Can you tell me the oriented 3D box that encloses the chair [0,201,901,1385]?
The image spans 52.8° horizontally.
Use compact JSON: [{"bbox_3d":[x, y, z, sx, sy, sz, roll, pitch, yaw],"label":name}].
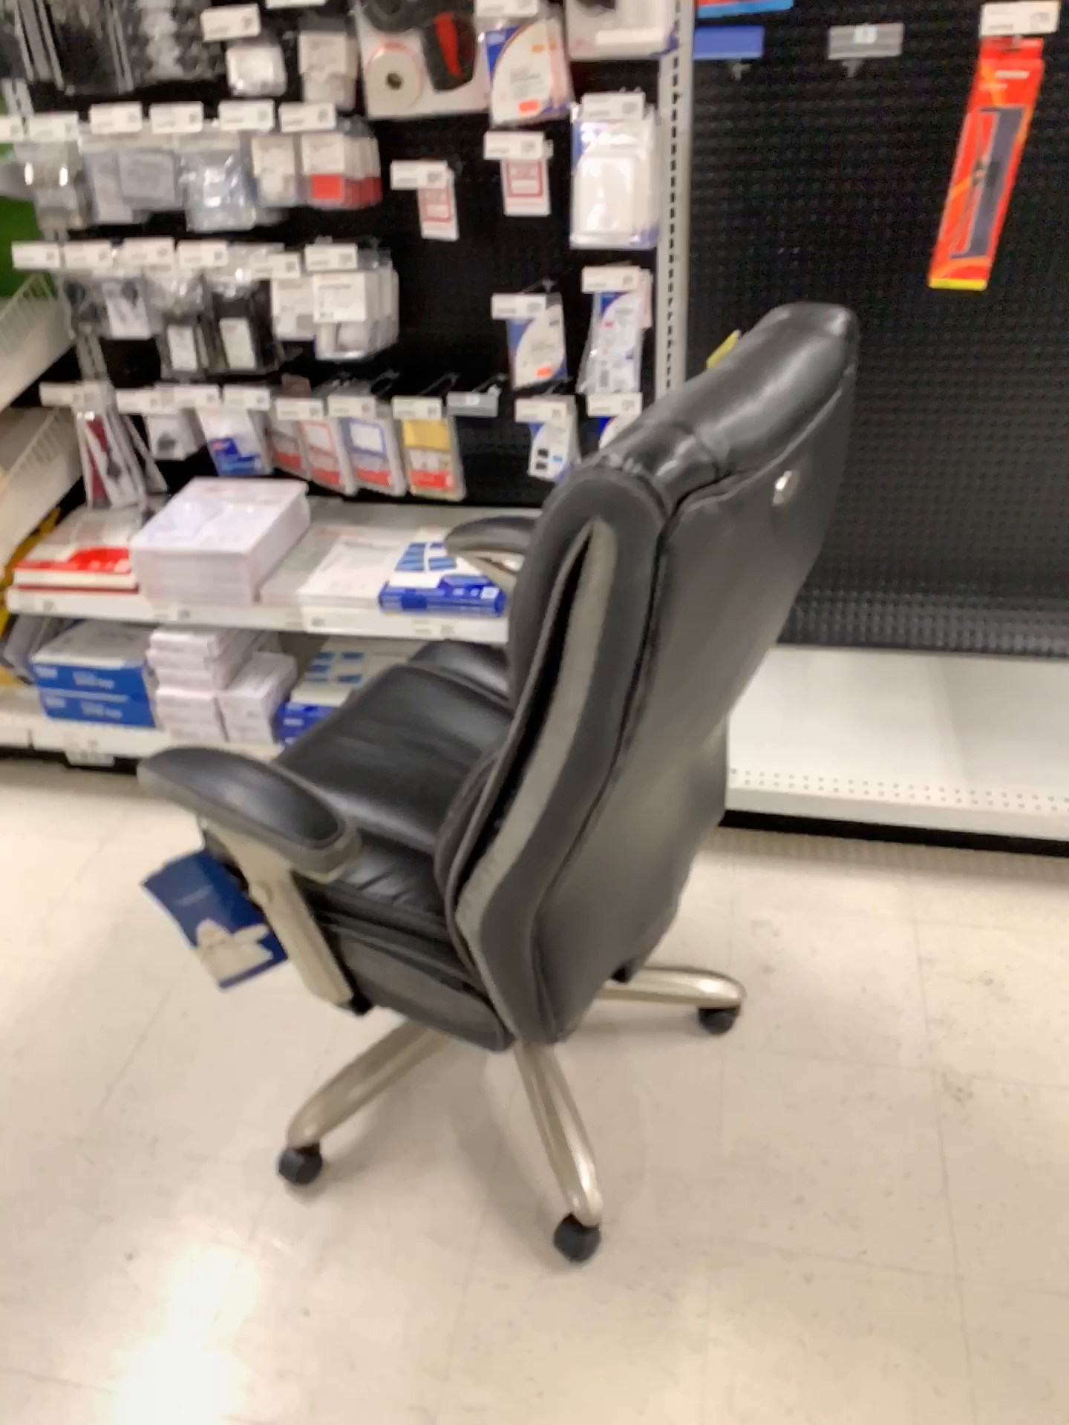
[{"bbox_3d":[-0.097,0.044,1.356,0.742,1.094,0.742,17,40,27],"label":"chair"}]
